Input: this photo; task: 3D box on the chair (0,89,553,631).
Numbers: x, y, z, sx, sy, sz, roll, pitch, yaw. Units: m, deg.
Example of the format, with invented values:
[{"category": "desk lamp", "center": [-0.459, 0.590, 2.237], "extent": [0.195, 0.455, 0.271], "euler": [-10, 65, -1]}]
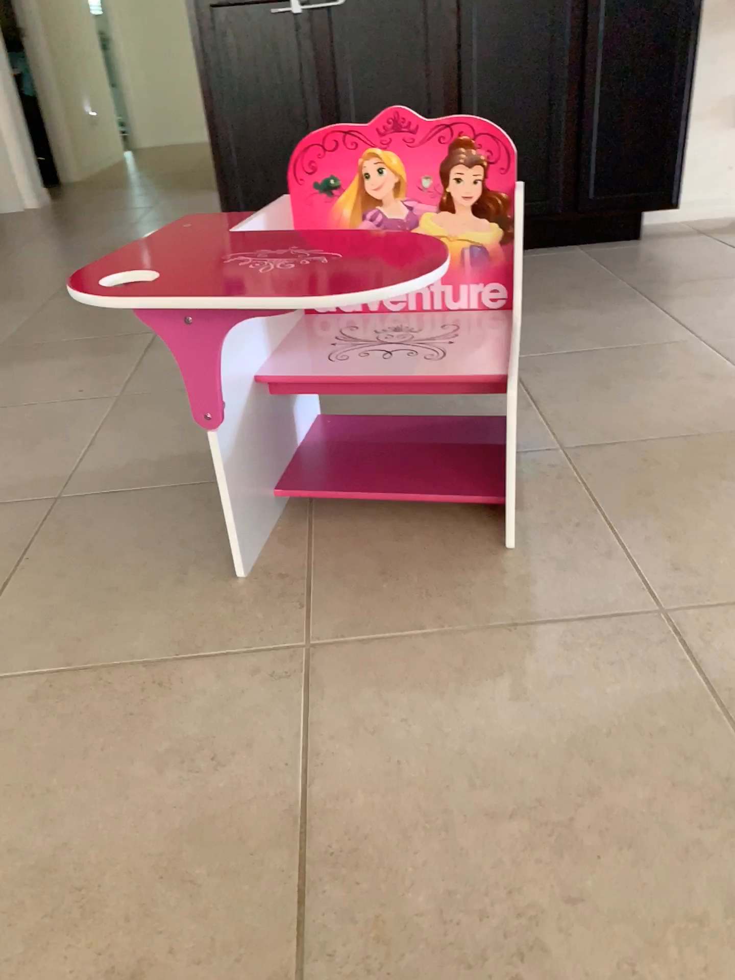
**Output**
[{"category": "chair", "center": [-0.042, -0.216, 1.060], "extent": [0.531, 0.566, 0.554], "euler": [0, 29, 9]}]
